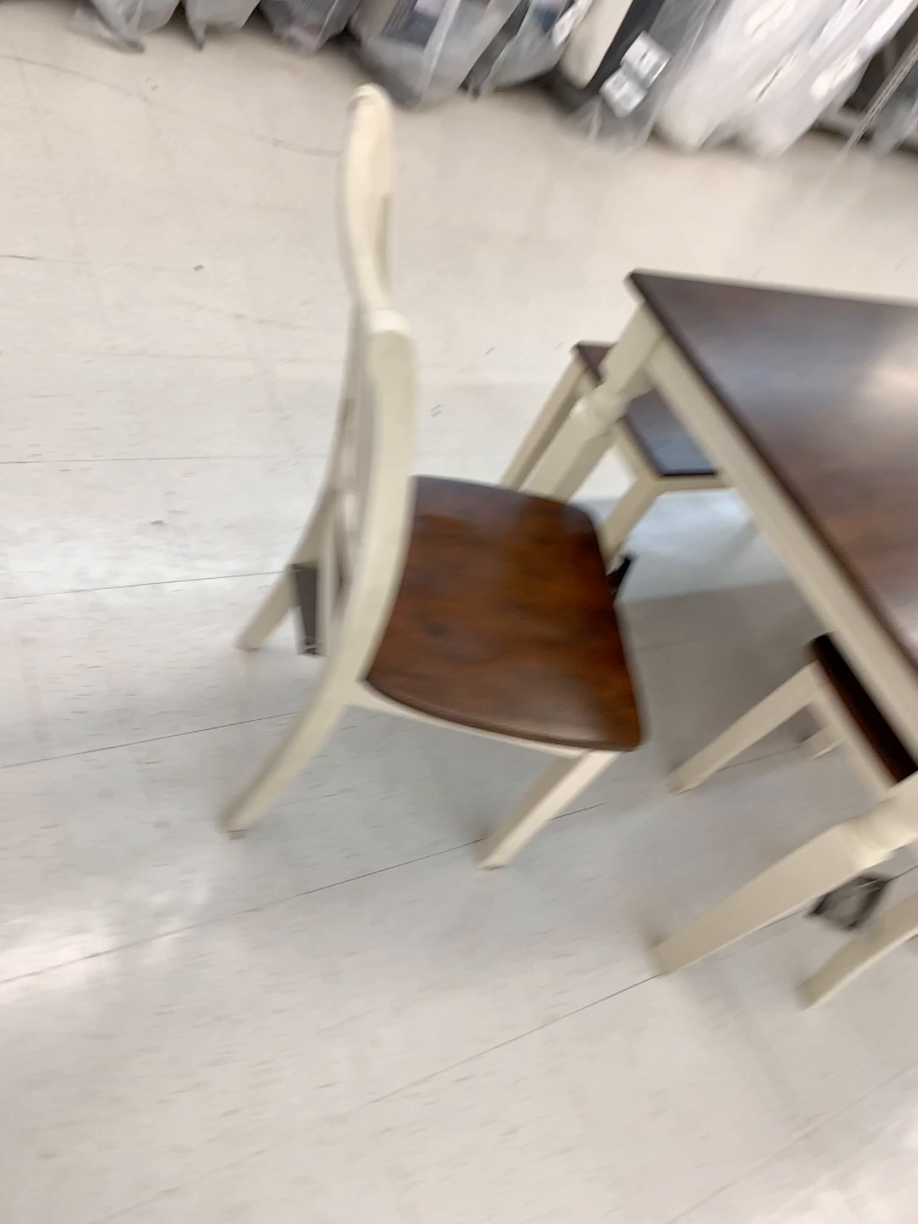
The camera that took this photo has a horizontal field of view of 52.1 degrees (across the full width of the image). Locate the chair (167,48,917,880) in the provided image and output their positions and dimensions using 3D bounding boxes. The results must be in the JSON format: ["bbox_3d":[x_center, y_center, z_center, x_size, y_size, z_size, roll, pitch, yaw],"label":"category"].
[{"bbox_3d":[-0.005,-0.082,1.271,0.571,0.905,0.532,10,50,-21],"label":"chair"}]
